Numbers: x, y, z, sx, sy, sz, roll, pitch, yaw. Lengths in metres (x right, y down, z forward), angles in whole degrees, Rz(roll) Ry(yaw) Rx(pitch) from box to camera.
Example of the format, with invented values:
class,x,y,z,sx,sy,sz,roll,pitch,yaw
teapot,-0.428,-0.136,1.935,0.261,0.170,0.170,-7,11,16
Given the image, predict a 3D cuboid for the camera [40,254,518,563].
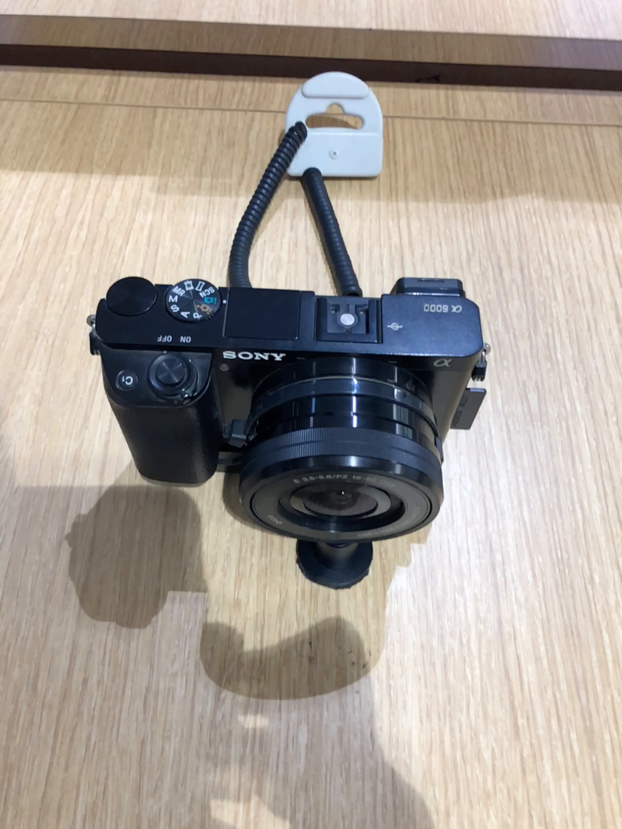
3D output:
class,x,y,z,sx,sy,sz,roll,pitch,yaw
camera,-0.008,0.002,0.201,0.107,0.070,0.059,1,58,-1
